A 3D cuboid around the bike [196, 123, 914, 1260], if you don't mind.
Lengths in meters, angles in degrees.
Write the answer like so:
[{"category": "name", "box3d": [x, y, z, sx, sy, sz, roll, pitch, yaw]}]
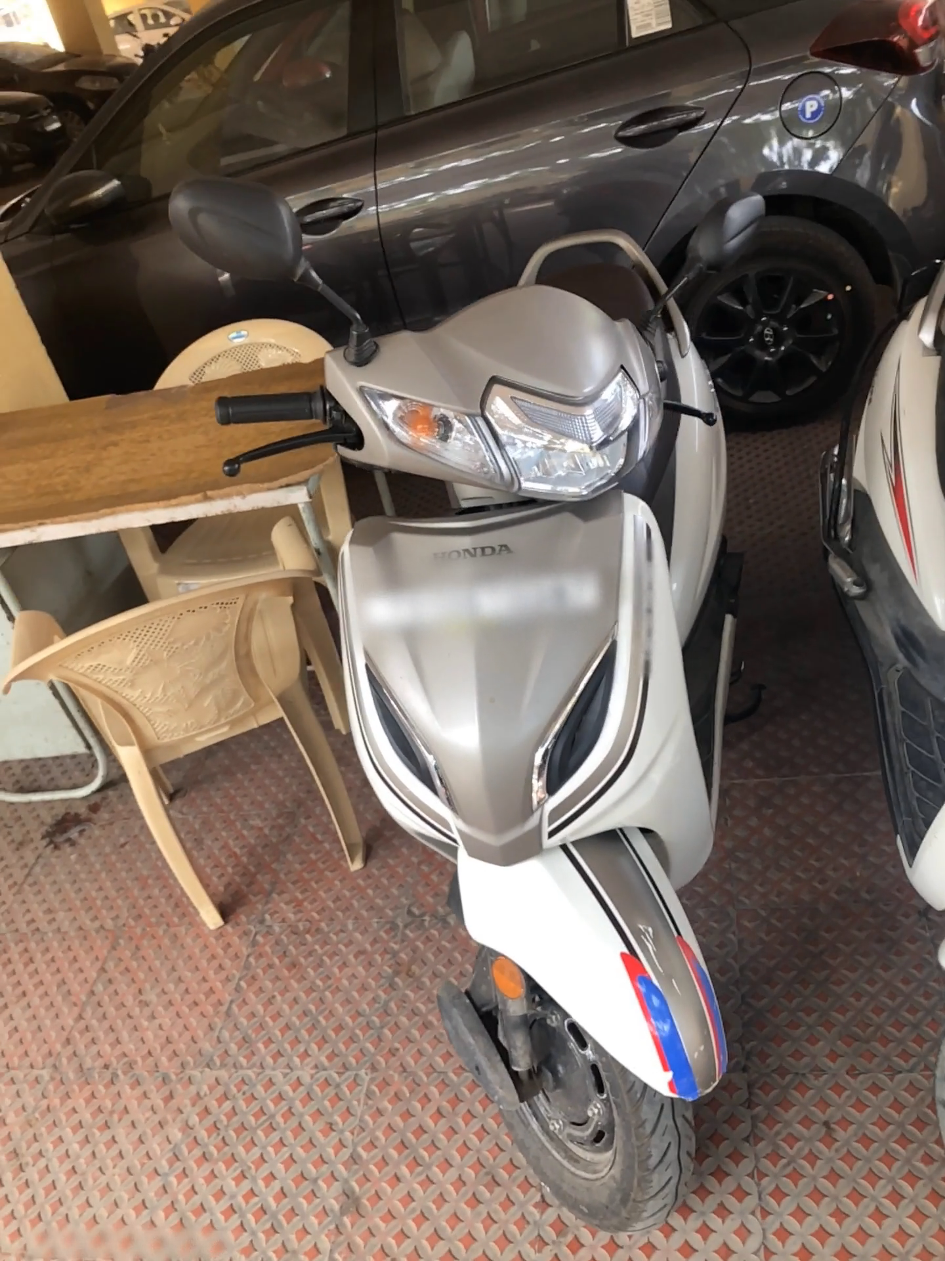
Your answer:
[{"category": "bike", "box3d": [0.175, -0.027, 1.652, 0.626, 0.850, 1.464, -8, 41, 11]}]
